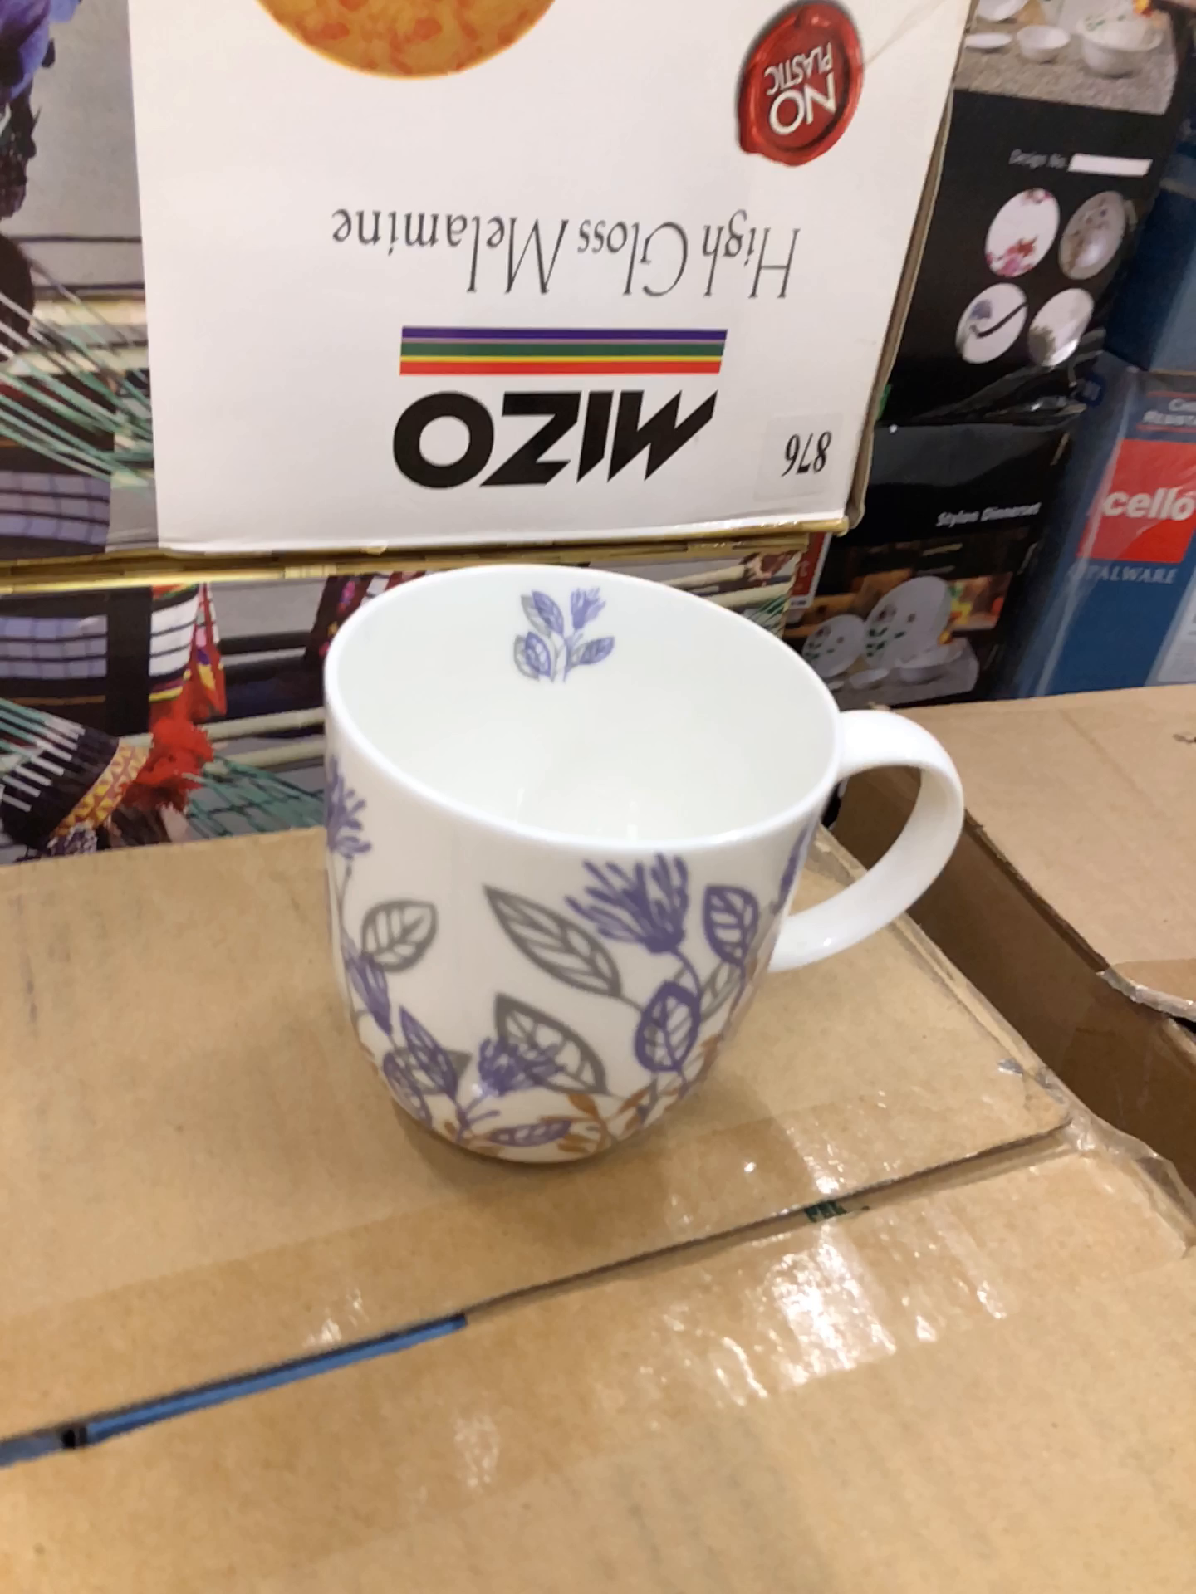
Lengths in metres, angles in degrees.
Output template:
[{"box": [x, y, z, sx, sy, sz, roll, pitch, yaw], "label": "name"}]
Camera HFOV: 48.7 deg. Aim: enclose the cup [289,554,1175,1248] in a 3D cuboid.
[{"box": [0.013, 0.009, 0.236, 0.120, 0.070, 0.090, -5, 37, -20], "label": "cup"}]
